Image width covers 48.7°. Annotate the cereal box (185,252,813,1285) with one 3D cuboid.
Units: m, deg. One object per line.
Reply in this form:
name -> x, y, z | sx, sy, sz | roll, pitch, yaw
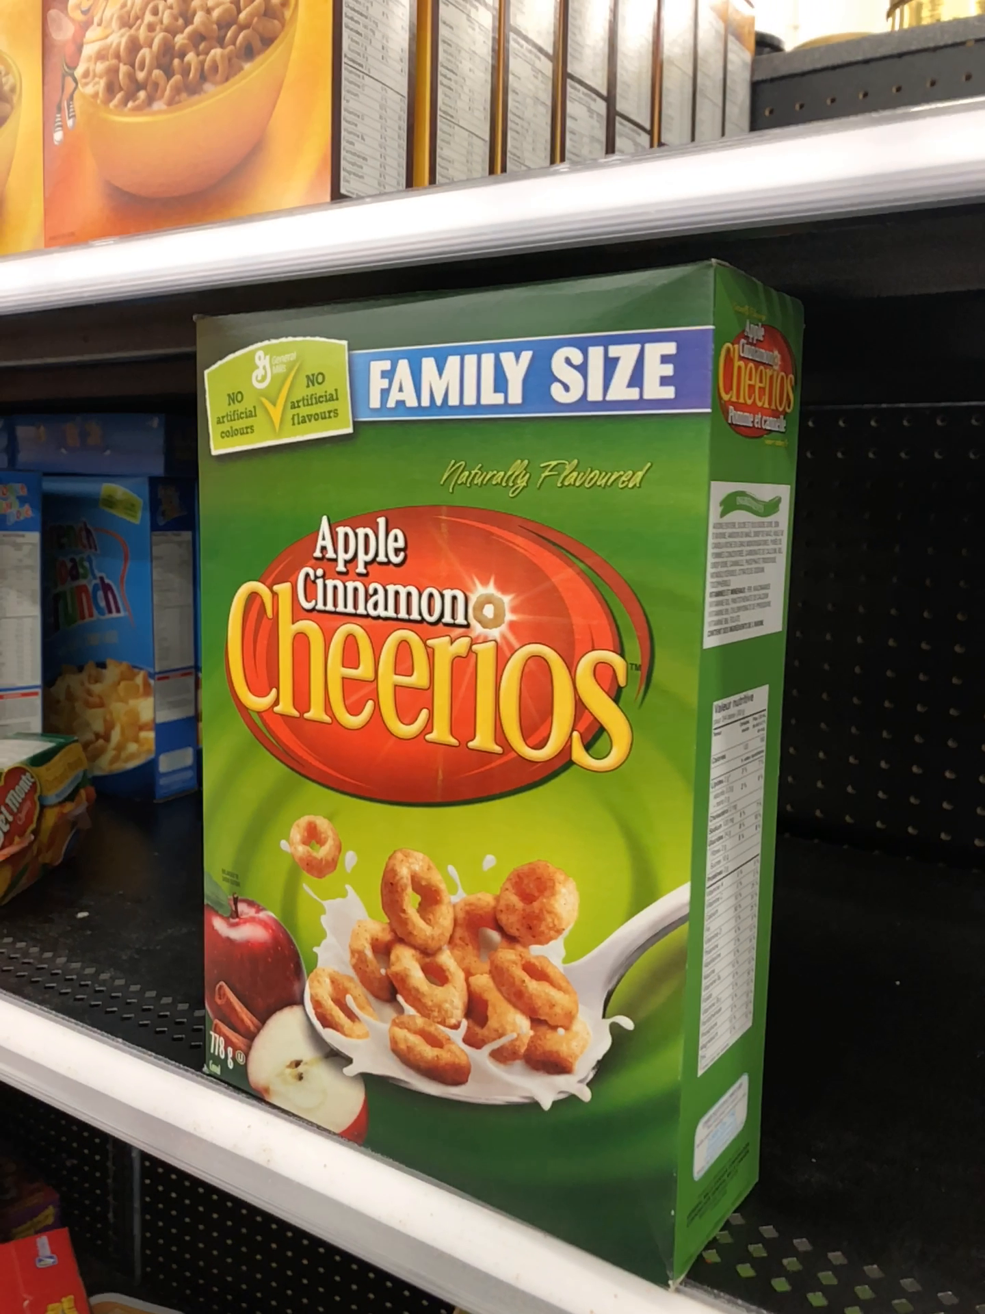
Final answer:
cereal box -> -0.011, 0.029, 0.441 | 0.240, 0.329, 0.080 | 6, 8, 34
